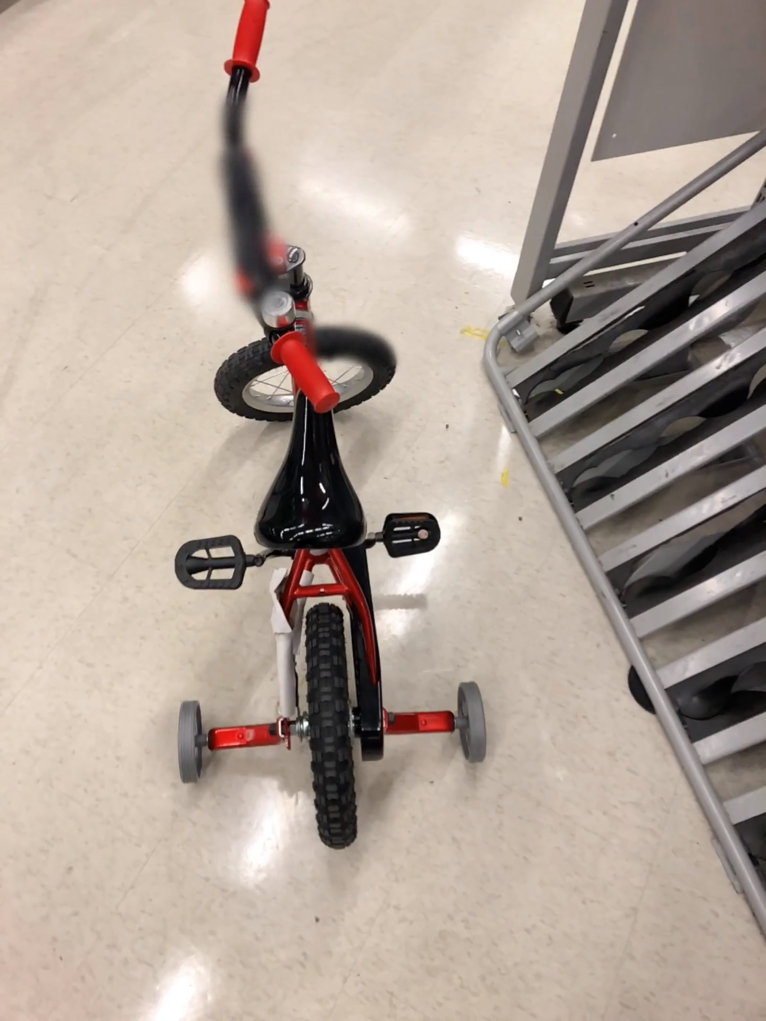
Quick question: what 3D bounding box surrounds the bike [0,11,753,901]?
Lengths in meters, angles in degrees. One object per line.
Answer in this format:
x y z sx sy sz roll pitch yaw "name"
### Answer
-0.130 -0.024 0.973 0.531 0.679 0.701 -11 60 -11 "bike"
